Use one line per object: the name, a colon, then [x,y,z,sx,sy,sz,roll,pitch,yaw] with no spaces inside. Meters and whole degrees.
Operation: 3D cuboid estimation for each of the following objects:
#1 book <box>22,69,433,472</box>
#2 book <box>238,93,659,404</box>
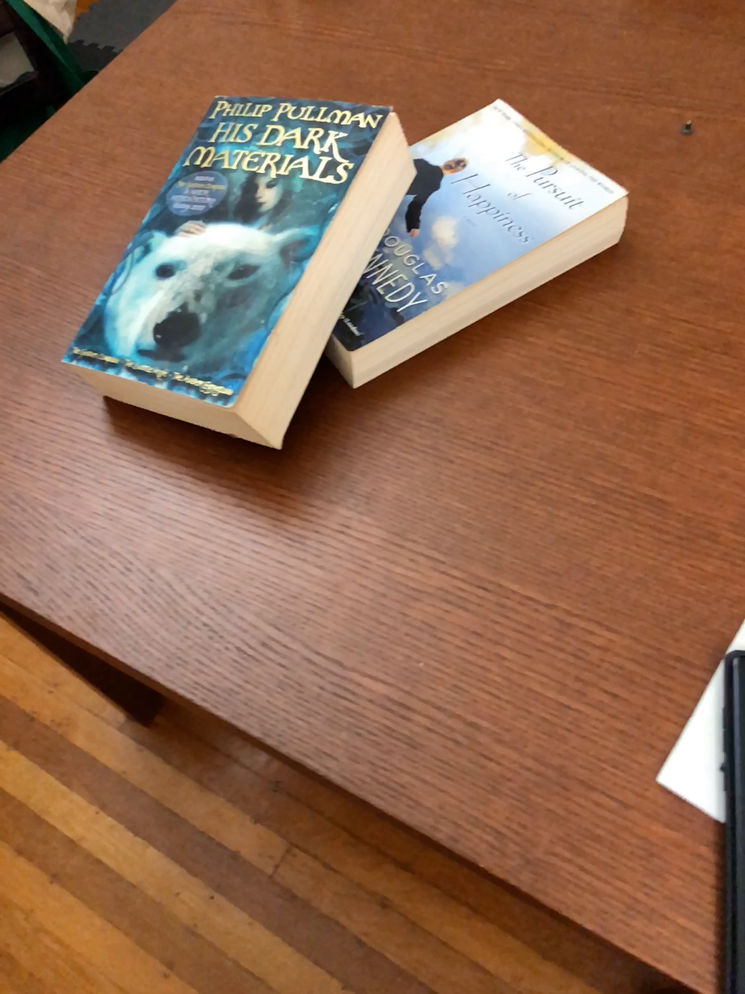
book: [-0.089,-0.156,0.532,0.170,0.060,0.240,18,75,24]
book: [0.047,-0.186,0.581,0.240,0.040,0.171,-29,52,-6]
